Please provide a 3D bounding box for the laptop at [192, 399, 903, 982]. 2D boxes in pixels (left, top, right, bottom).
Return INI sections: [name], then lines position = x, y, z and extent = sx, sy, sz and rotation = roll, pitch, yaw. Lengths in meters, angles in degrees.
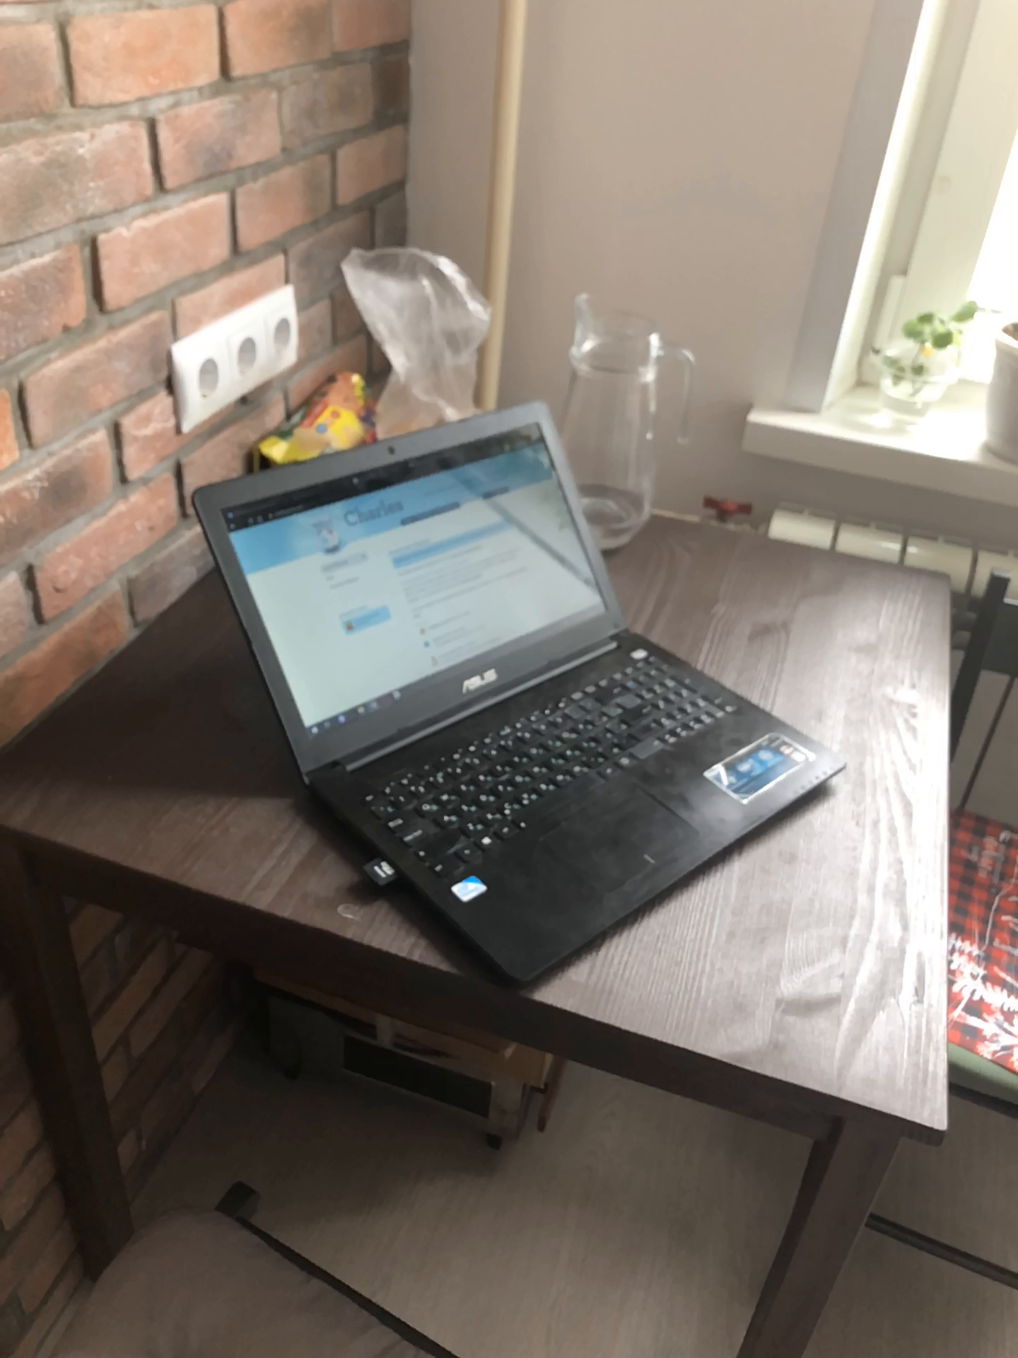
[laptop]
position = 0.020, -0.036, 0.912
extent = 0.373, 0.186, 0.401
rotation = -24, 44, -35
